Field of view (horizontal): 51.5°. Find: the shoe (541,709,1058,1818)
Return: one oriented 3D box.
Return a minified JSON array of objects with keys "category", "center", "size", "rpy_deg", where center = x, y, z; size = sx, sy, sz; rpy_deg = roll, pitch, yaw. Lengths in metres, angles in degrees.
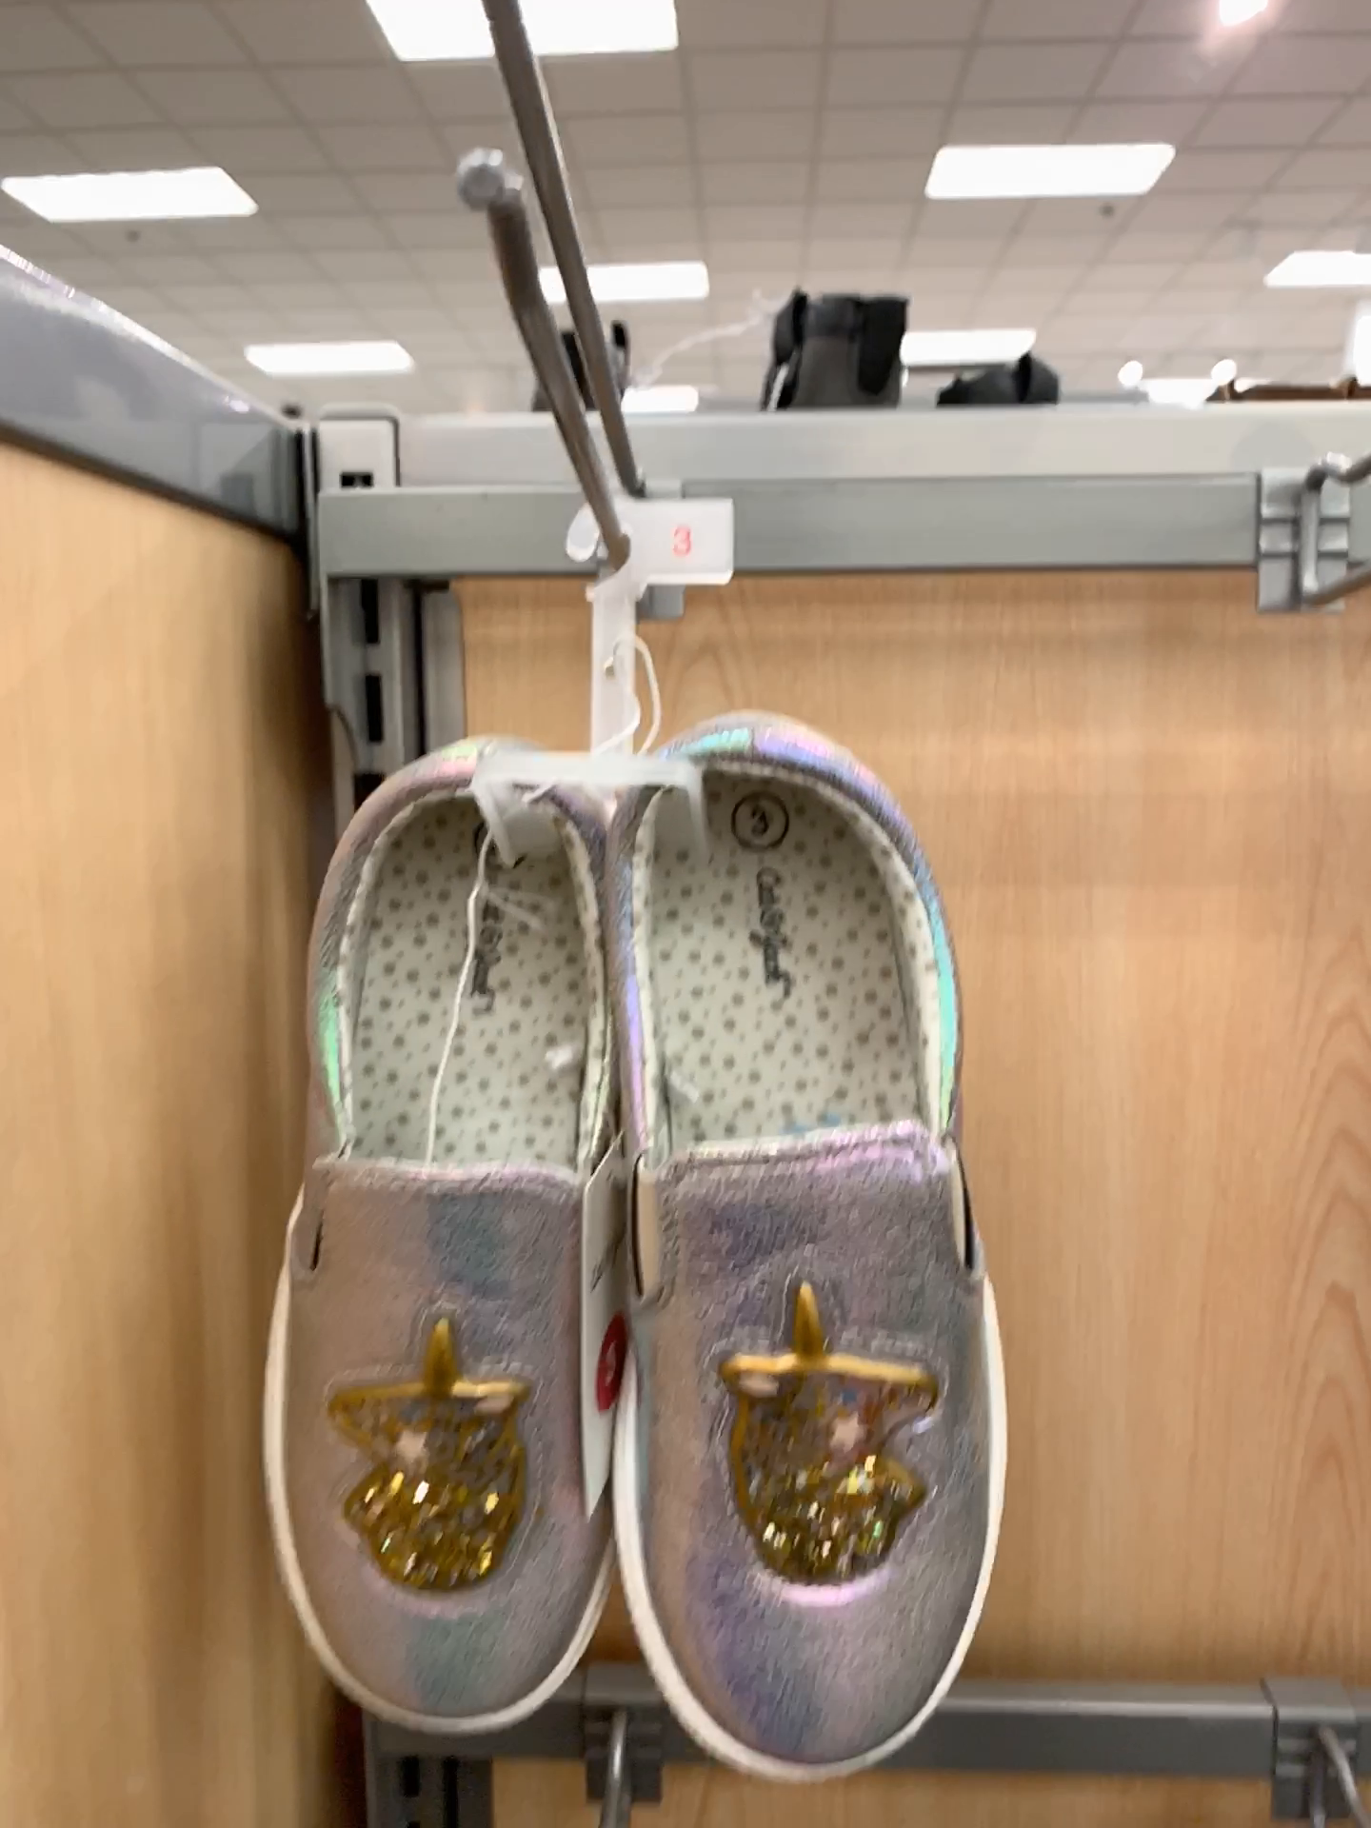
[{"category":"shoe","center":[0.022,0.067,0.338],"size":[0.100,0.221,0.113],"rpy_deg":[-1,4,-1]}]

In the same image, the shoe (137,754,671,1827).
[{"category":"shoe","center":[-0.055,0.076,0.337],"size":[0.100,0.221,0.113],"rpy_deg":[-1,4,-1]}]
